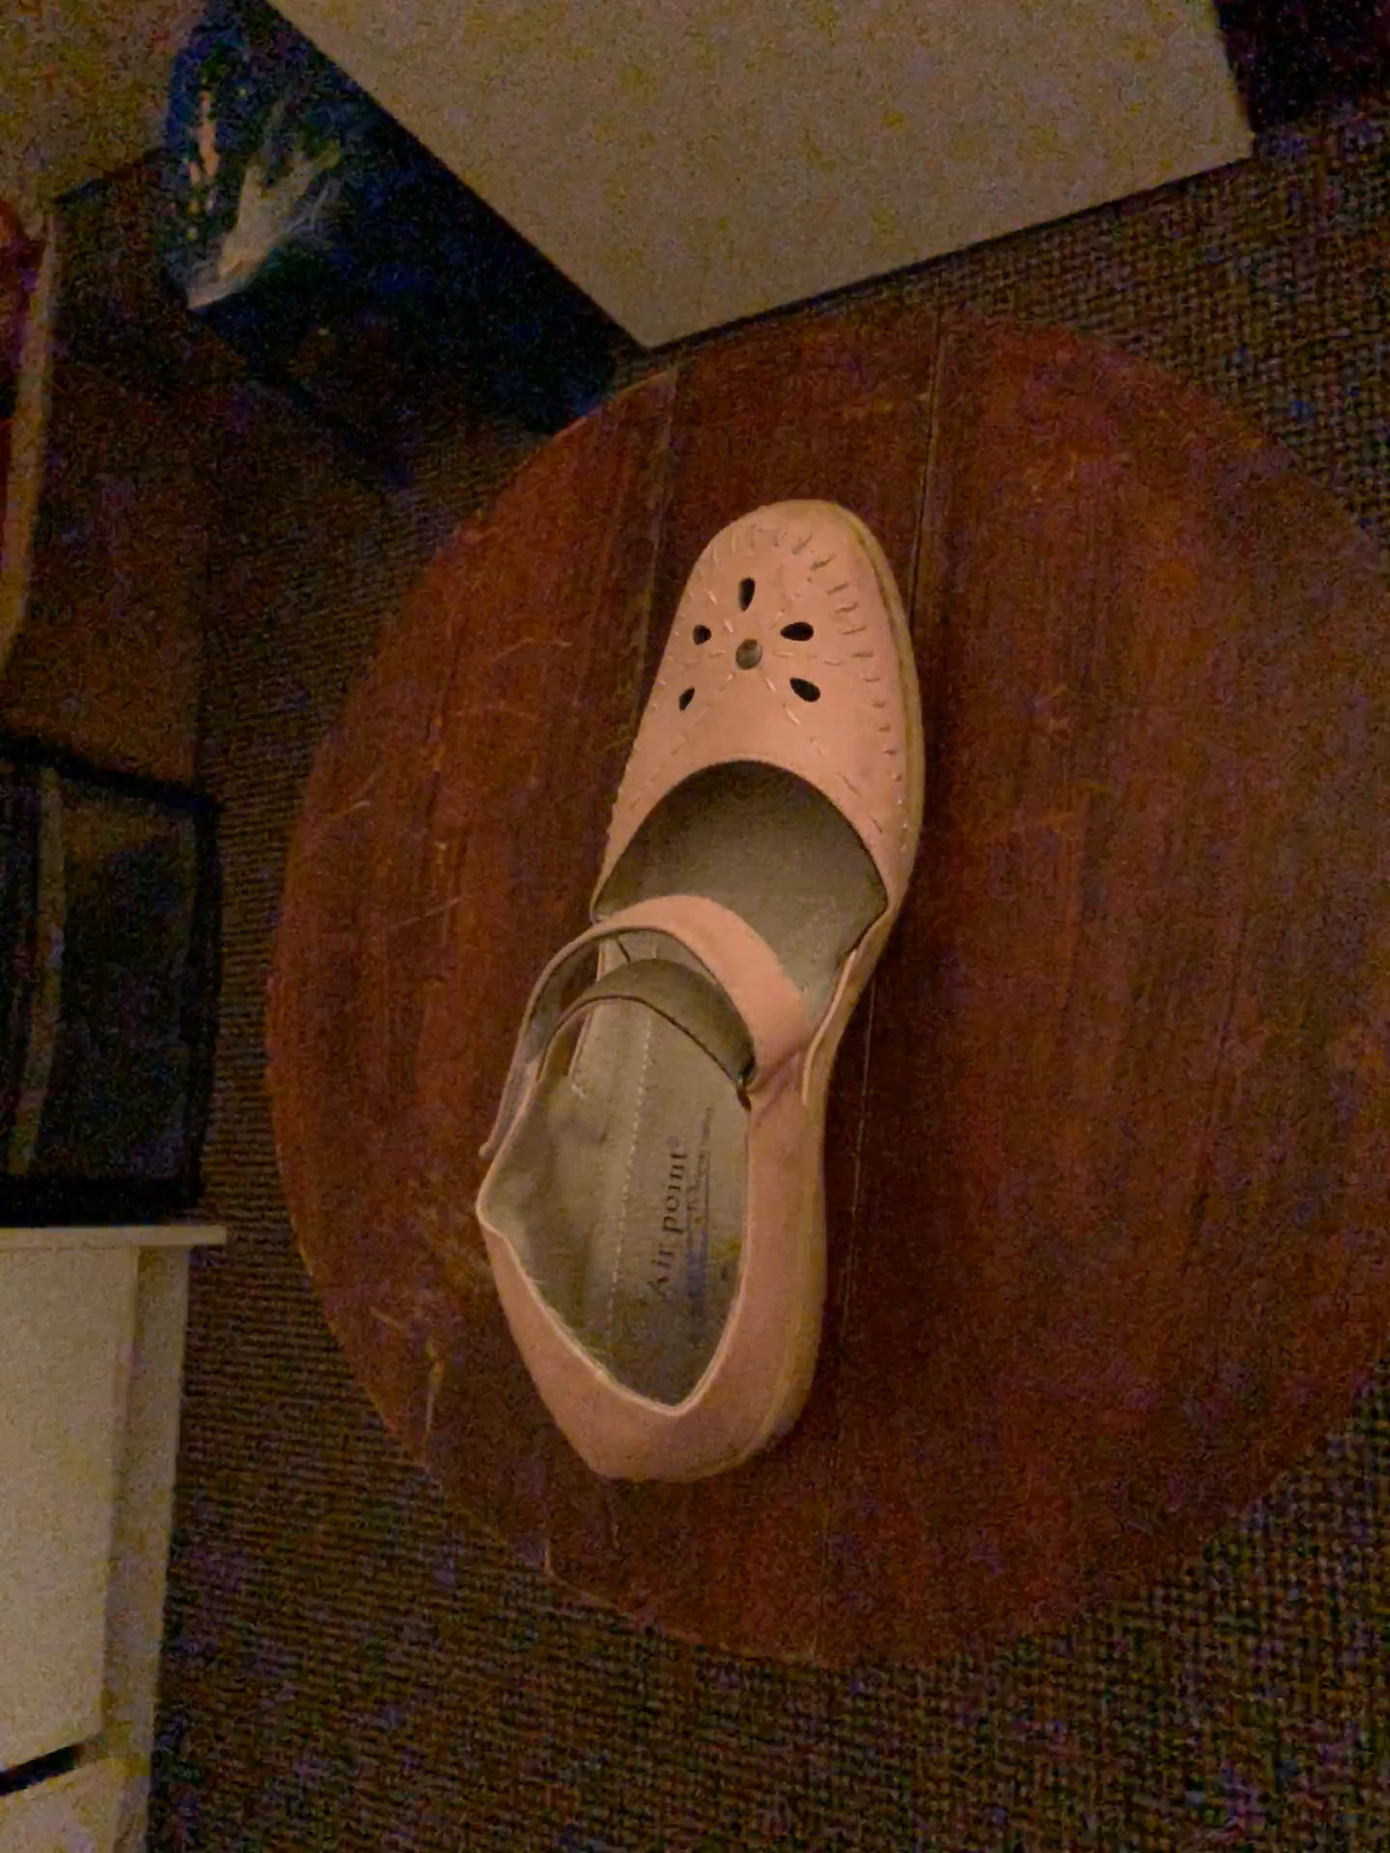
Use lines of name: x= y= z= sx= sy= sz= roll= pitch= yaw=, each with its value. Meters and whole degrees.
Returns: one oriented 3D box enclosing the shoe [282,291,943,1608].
shoe: x=-0.014 y=0.003 z=0.356 sx=0.102 sy=0.092 sz=0.271 roll=1 pitch=81 yaw=32
